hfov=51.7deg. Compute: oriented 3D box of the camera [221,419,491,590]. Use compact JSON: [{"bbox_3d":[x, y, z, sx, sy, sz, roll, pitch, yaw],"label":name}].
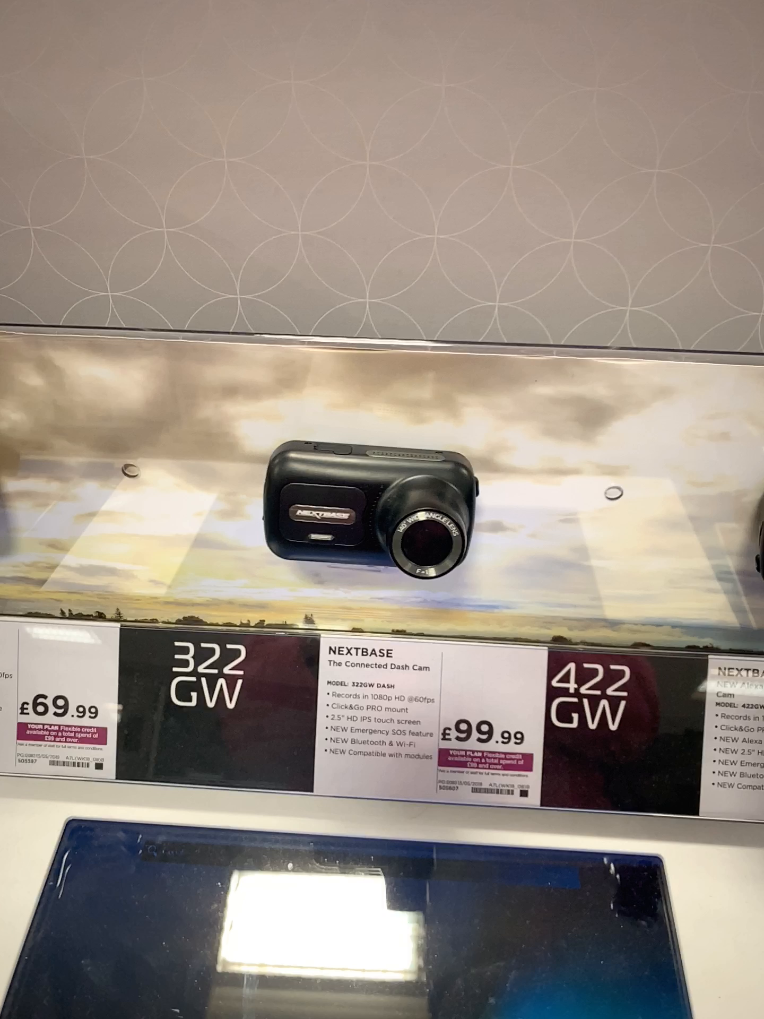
[{"bbox_3d":[-0.007,-0.005,0.300,0.090,0.040,0.070,4,17,5],"label":"camera"}]
